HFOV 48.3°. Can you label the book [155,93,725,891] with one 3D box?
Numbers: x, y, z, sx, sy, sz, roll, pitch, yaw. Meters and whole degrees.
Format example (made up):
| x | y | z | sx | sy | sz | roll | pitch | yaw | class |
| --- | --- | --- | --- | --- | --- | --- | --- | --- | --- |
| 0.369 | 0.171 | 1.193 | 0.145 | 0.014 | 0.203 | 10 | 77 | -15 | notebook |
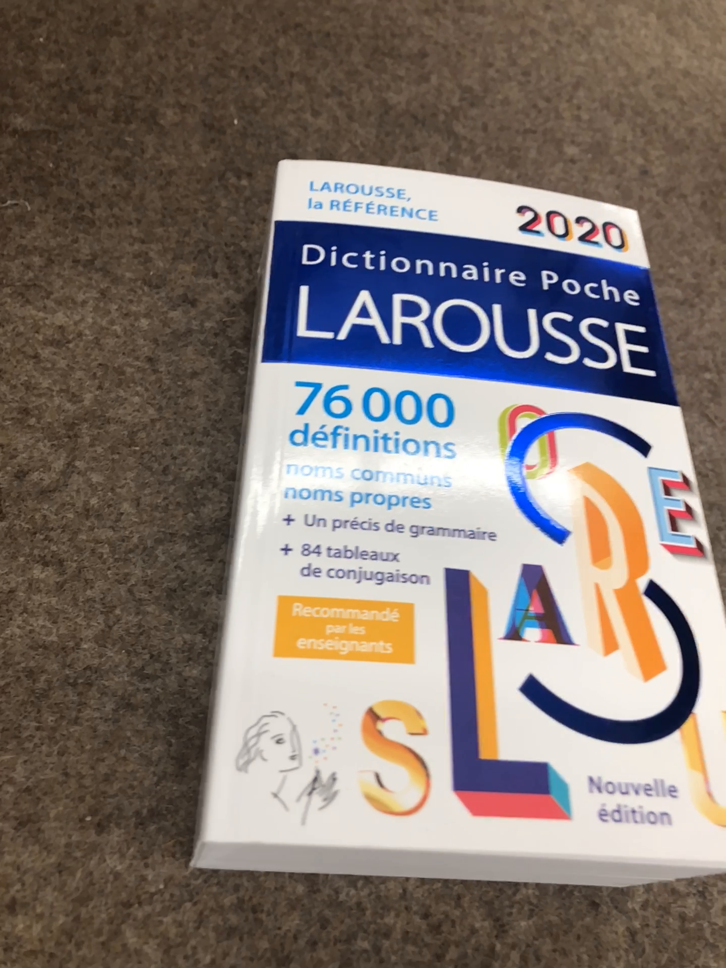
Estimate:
| x | y | z | sx | sy | sz | roll | pitch | yaw | class |
| --- | --- | --- | --- | --- | --- | --- | --- | --- | --- |
| 0.020 | -0.002 | 0.208 | 0.117 | 0.060 | 0.185 | 8 | 59 | -13 | book |
